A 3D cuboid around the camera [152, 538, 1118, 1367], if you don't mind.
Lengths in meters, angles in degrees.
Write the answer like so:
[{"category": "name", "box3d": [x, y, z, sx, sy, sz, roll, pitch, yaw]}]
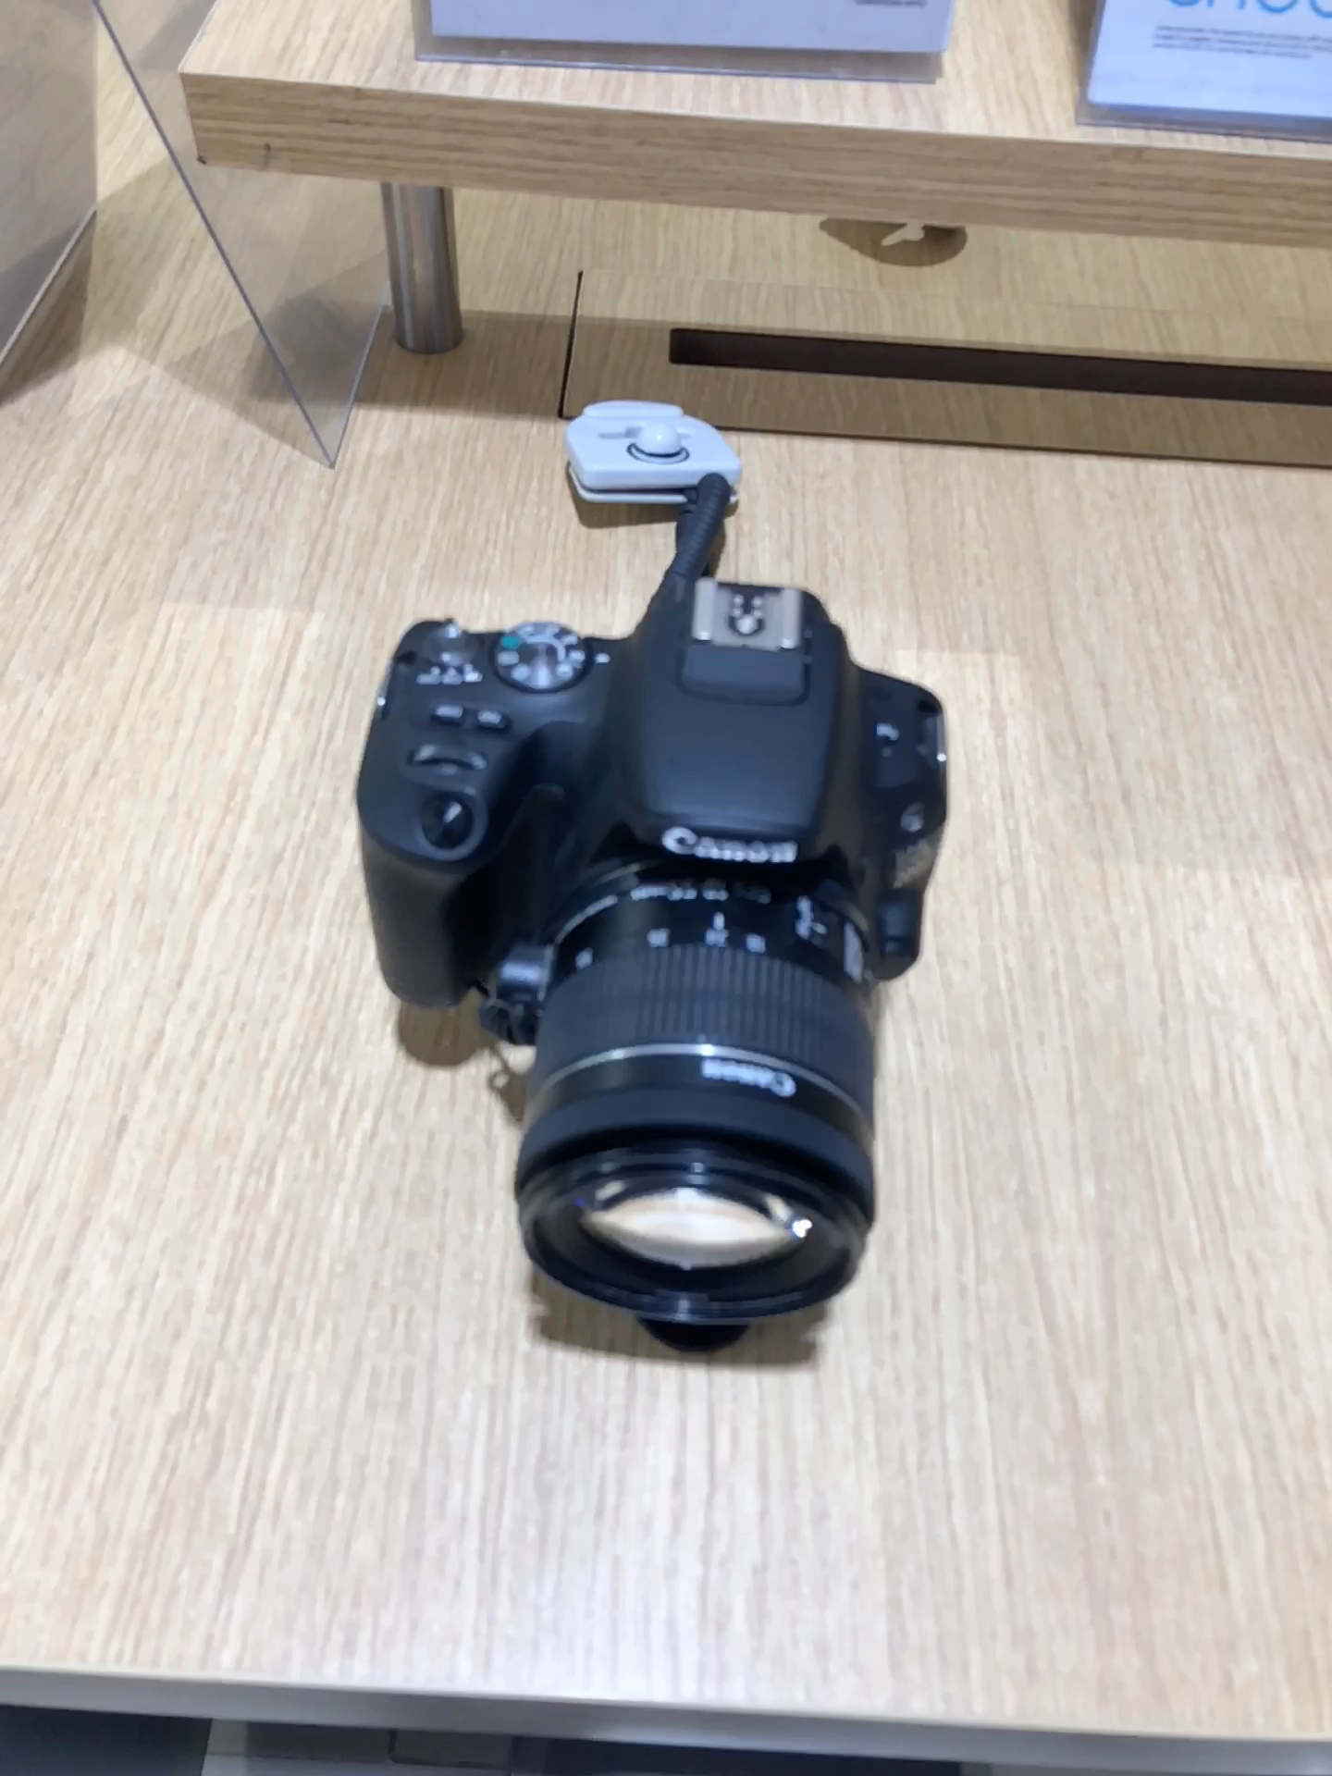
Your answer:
[{"category": "camera", "box3d": [-0.002, 0.010, 0.262, 0.130, 0.080, 0.115, 4, 52, 1]}]
